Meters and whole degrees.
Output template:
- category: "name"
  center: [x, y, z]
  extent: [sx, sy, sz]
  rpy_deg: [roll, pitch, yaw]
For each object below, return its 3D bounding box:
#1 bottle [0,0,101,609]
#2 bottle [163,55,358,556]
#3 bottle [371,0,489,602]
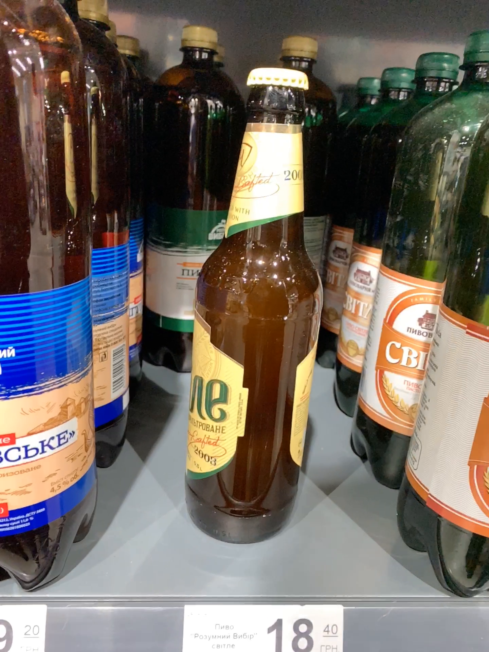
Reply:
- category: "bottle"
  center: [-0.112, -0.020, 0.221]
  extent: [0.084, 0.283, 0.070]
  rpy_deg: [0, 20, -12]
- category: "bottle"
  center: [-0.003, -0.003, 0.281]
  extent: [0.070, 0.248, 0.069]
  rpy_deg: [4, 20, -1]
- category: "bottle"
  center: [0.133, -0.003, 0.245]
  extent: [0.084, 0.277, 0.070]
  rpy_deg: [3, 20, -4]
